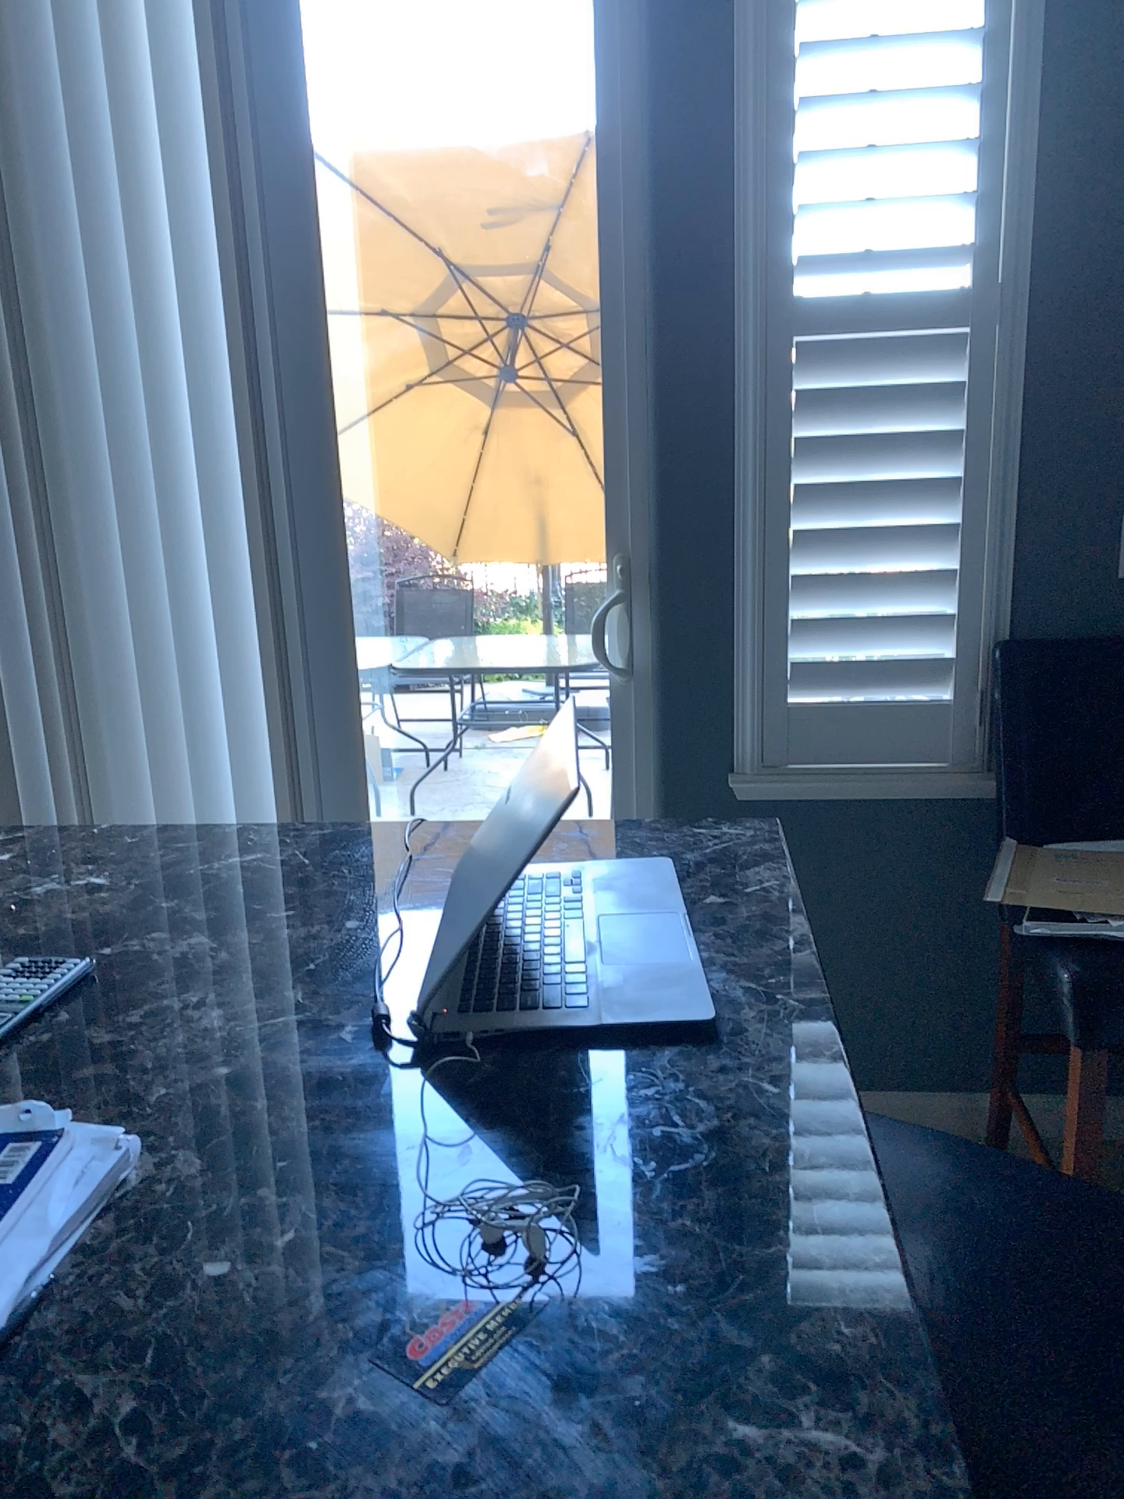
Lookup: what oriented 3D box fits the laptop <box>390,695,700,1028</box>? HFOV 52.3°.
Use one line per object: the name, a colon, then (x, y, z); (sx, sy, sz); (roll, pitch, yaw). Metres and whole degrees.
laptop: (-0.009, 0.081, 1.061); (0.233, 0.188, 0.363); (-1, 14, 1)
